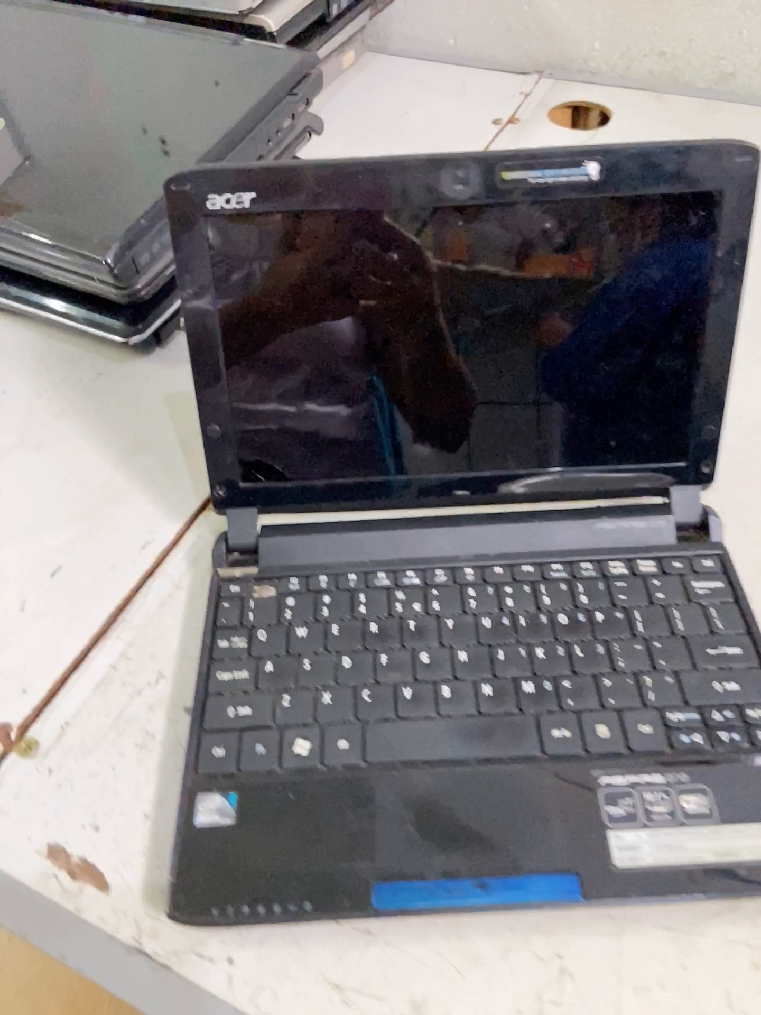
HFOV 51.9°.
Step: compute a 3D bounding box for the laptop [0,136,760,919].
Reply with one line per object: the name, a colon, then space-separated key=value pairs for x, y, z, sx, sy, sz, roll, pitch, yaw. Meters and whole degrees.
laptop: x=0.041 y=-0.003 z=0.310 sx=0.252 sy=0.144 sz=0.261 roll=-3 pitch=51 yaw=1
